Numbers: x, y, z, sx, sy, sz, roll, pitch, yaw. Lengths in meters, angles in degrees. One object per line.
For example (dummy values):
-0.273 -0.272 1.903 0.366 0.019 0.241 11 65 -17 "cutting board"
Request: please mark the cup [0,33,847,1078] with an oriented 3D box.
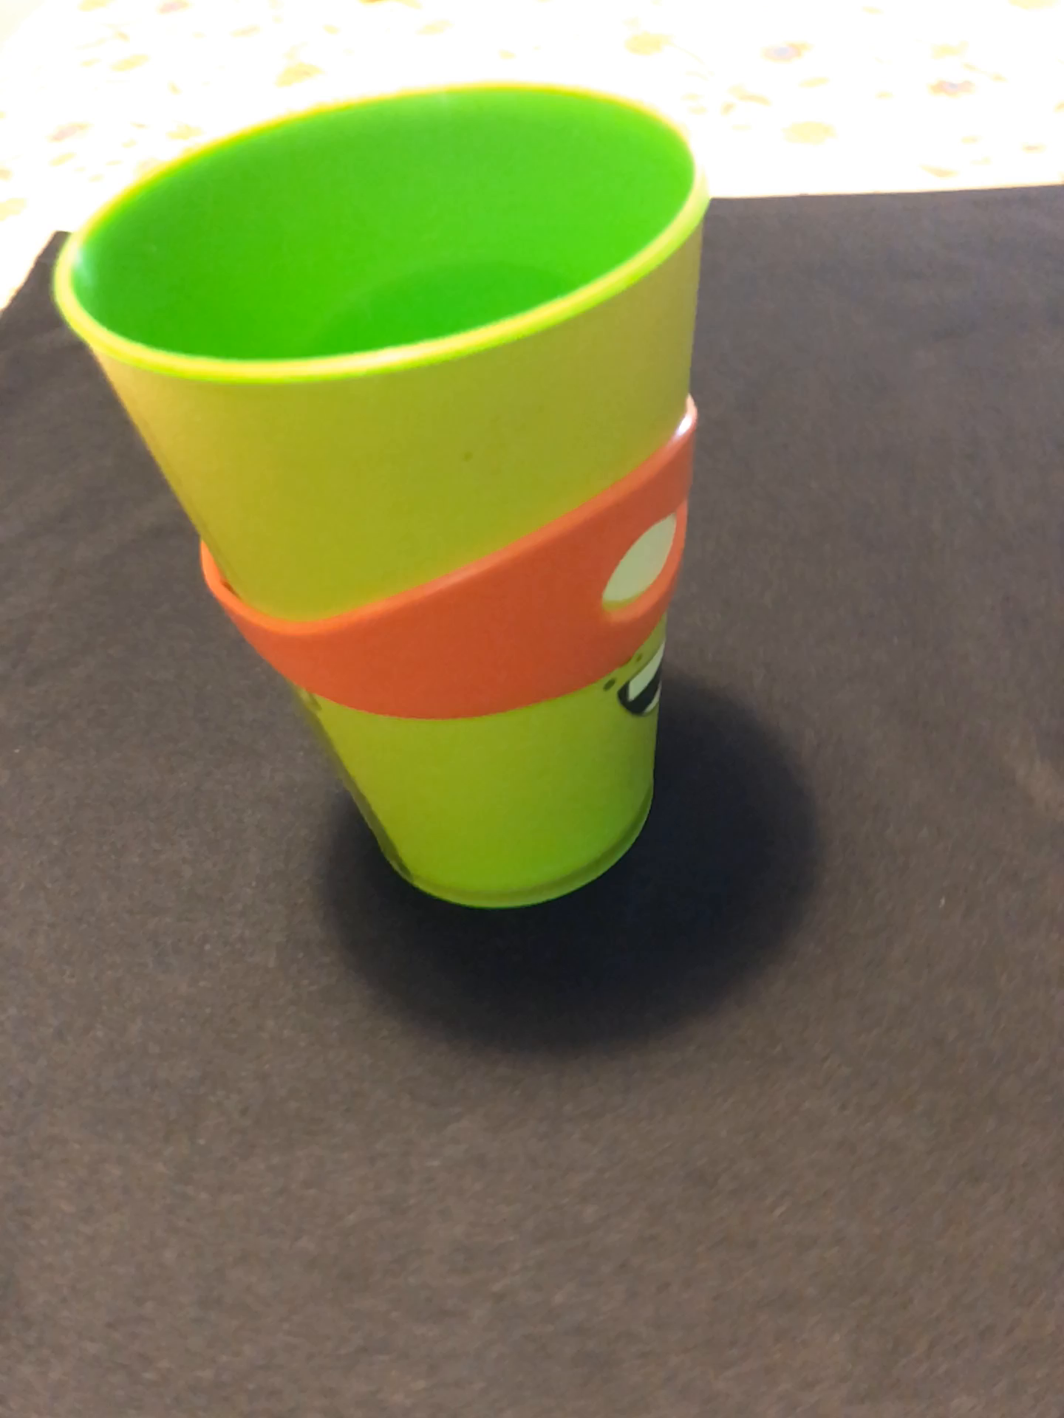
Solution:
-0.019 -0.026 0.225 0.110 0.139 0.101 -5 46 5 "cup"
